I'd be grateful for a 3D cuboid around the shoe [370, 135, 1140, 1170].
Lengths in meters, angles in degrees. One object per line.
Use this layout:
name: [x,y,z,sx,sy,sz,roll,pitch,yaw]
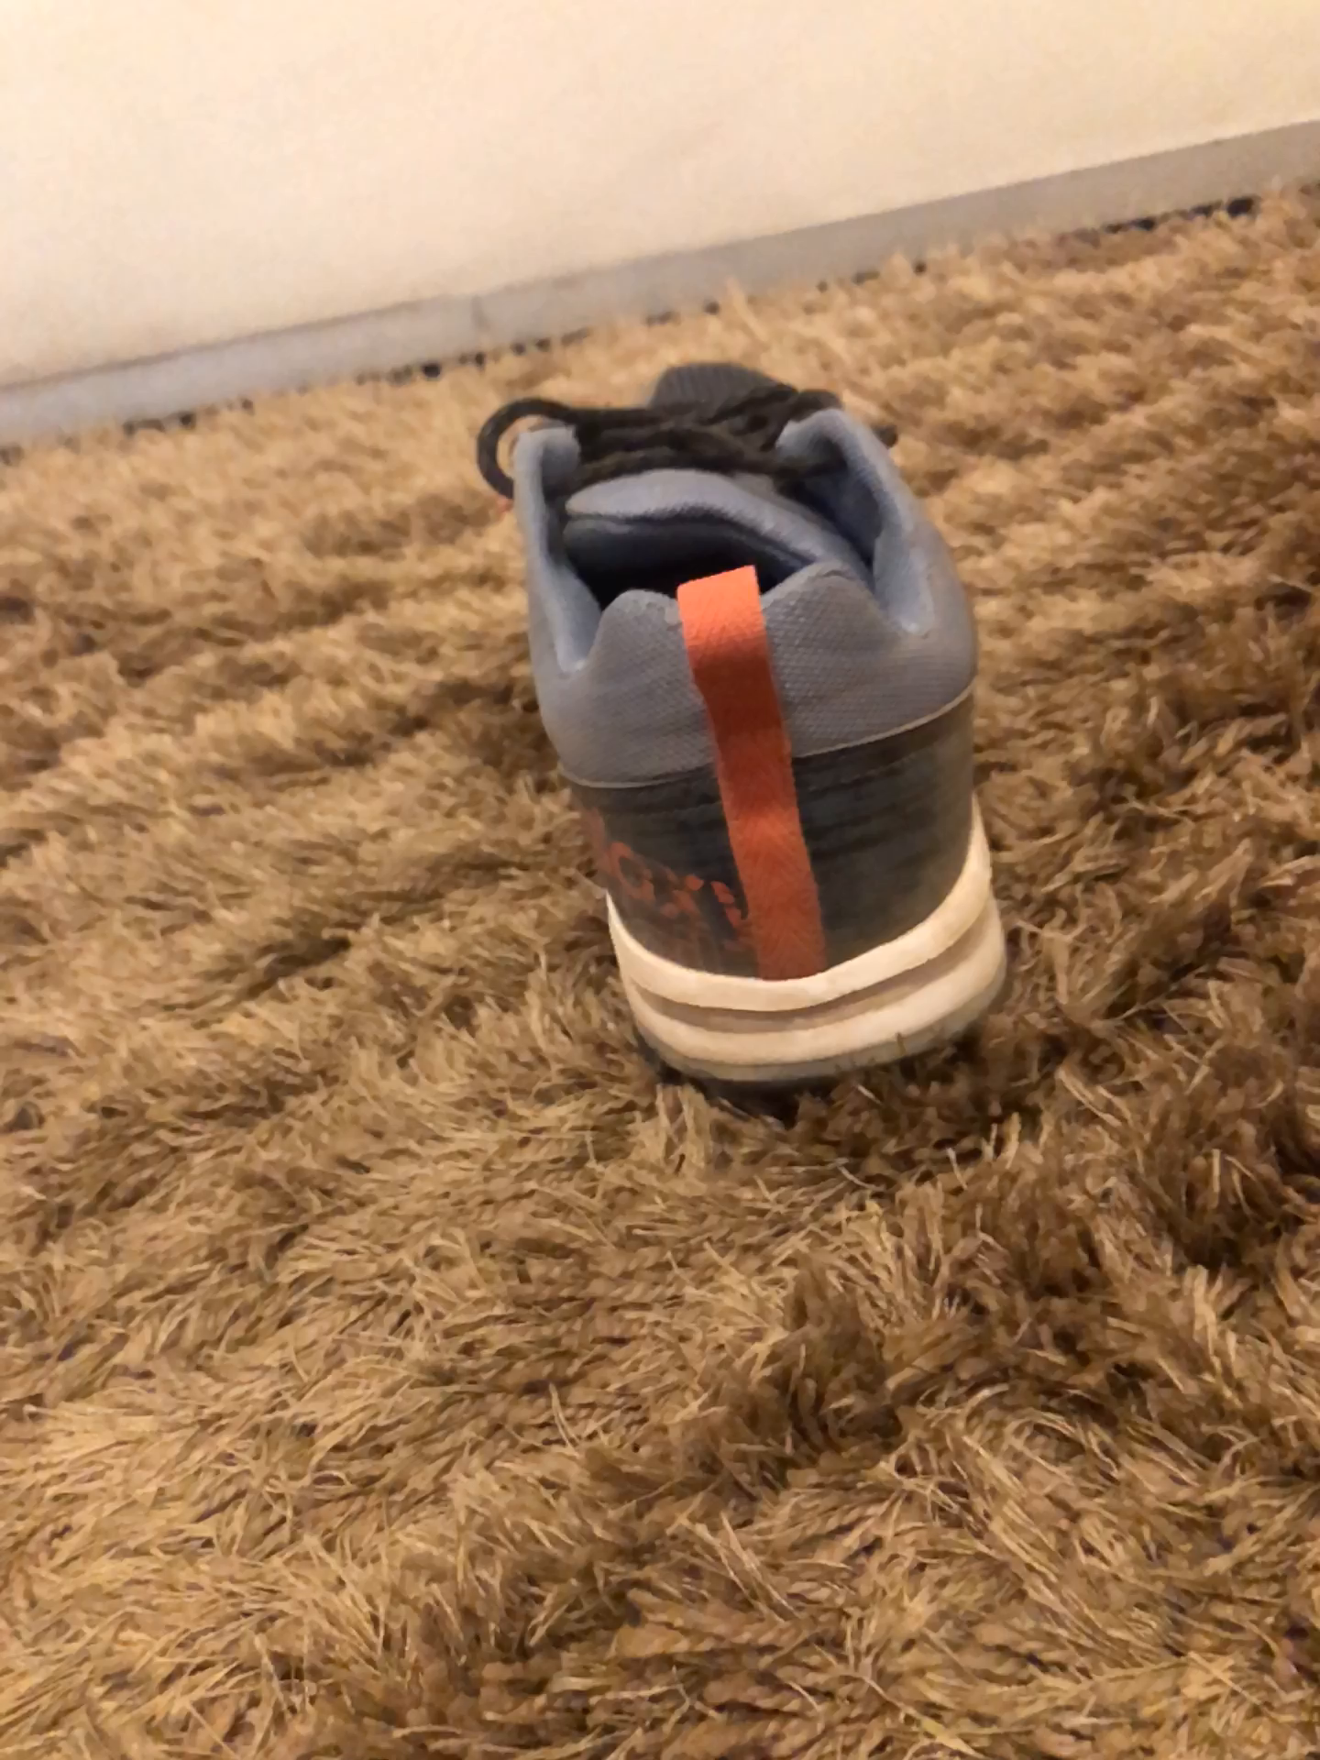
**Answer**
shoe: [0.021,-0.079,0.356,0.113,0.109,0.276,-8,37,6]
